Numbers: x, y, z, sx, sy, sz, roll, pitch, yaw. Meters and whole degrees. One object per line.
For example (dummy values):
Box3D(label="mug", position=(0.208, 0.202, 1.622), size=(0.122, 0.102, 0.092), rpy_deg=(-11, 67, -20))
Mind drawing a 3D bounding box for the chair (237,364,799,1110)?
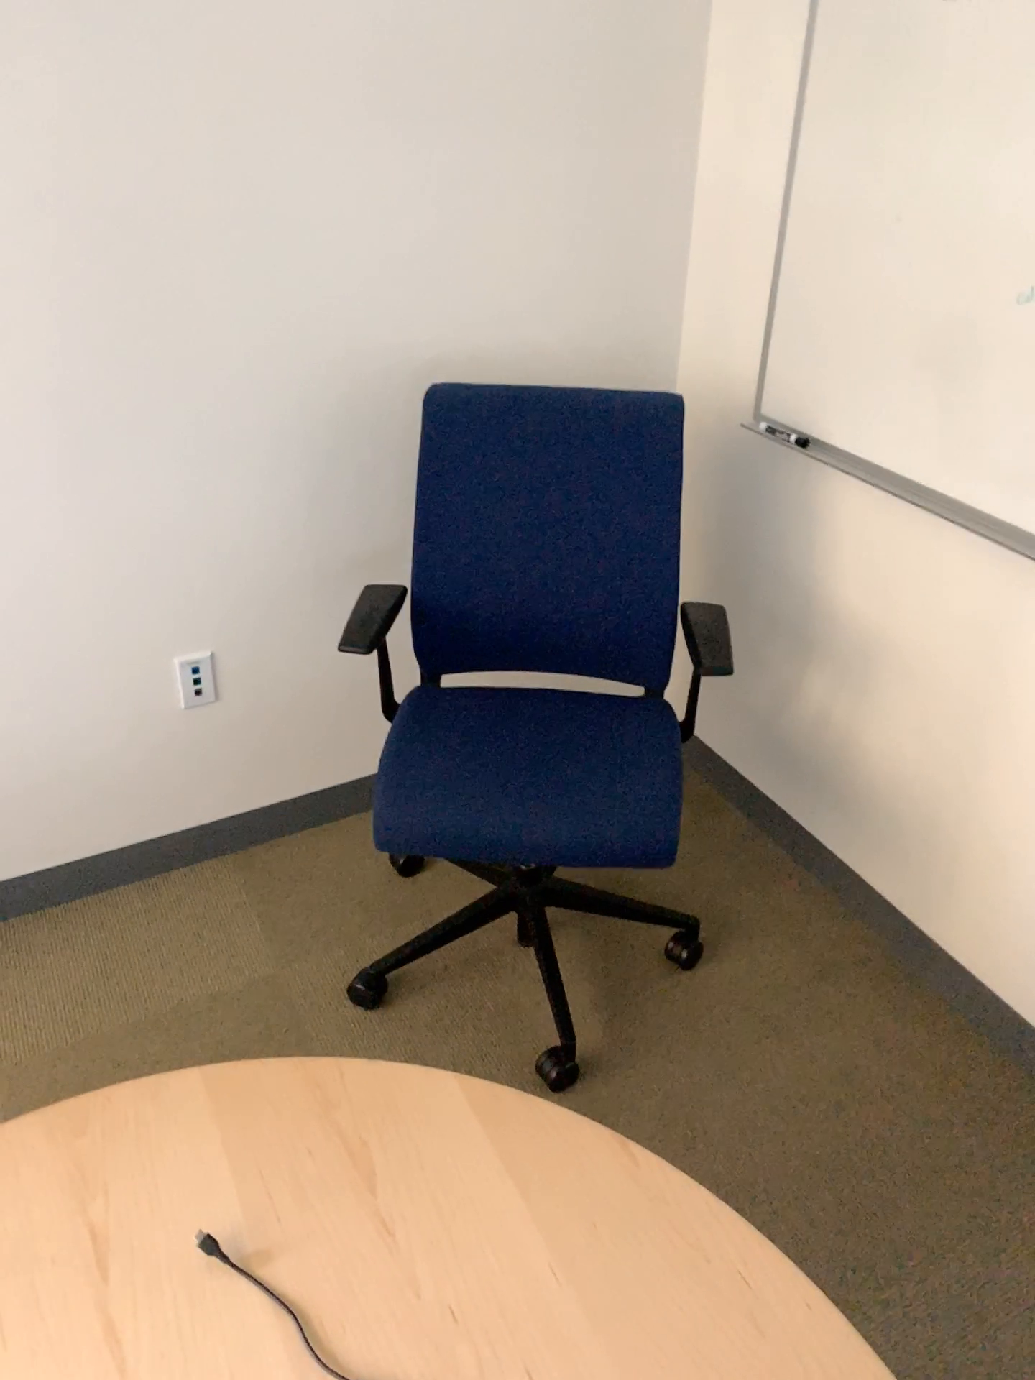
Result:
Box3D(label="chair", position=(0.058, 0.018, 2.047), size=(0.740, 0.994, 0.986), rpy_deg=(5, 32, 7))
